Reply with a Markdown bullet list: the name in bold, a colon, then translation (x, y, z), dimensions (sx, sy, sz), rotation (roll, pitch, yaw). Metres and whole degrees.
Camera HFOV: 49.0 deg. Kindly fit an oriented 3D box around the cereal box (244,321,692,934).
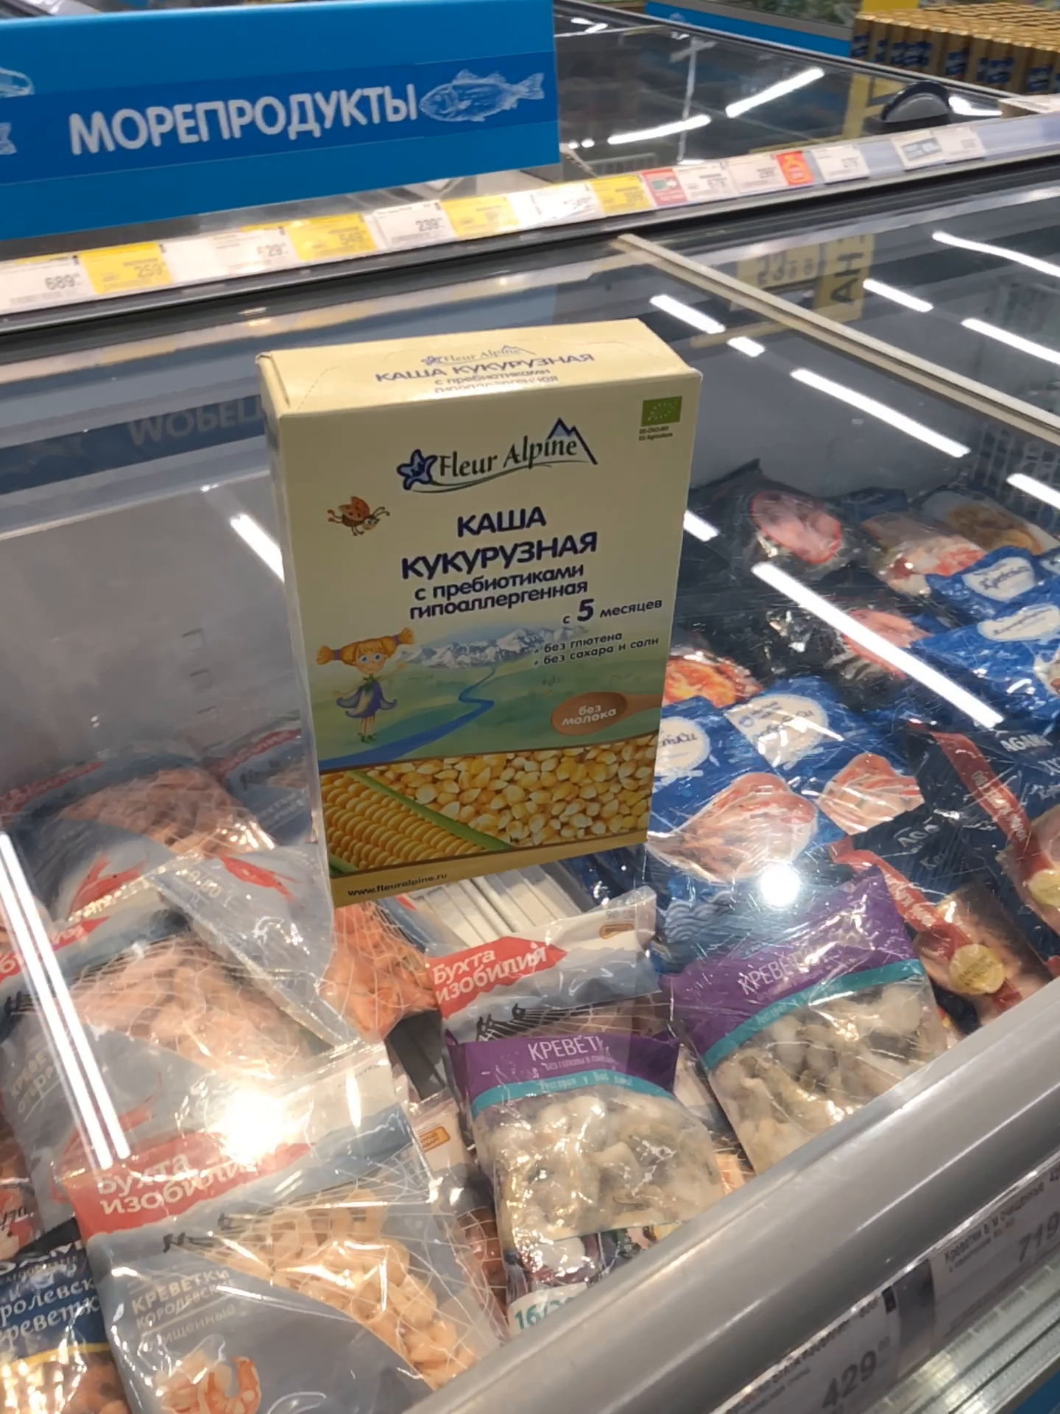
- **cereal box**: translation (-0.022, -0.022, 0.422), dimensions (0.130, 0.209, 0.050), rotation (-10, 38, -15)
